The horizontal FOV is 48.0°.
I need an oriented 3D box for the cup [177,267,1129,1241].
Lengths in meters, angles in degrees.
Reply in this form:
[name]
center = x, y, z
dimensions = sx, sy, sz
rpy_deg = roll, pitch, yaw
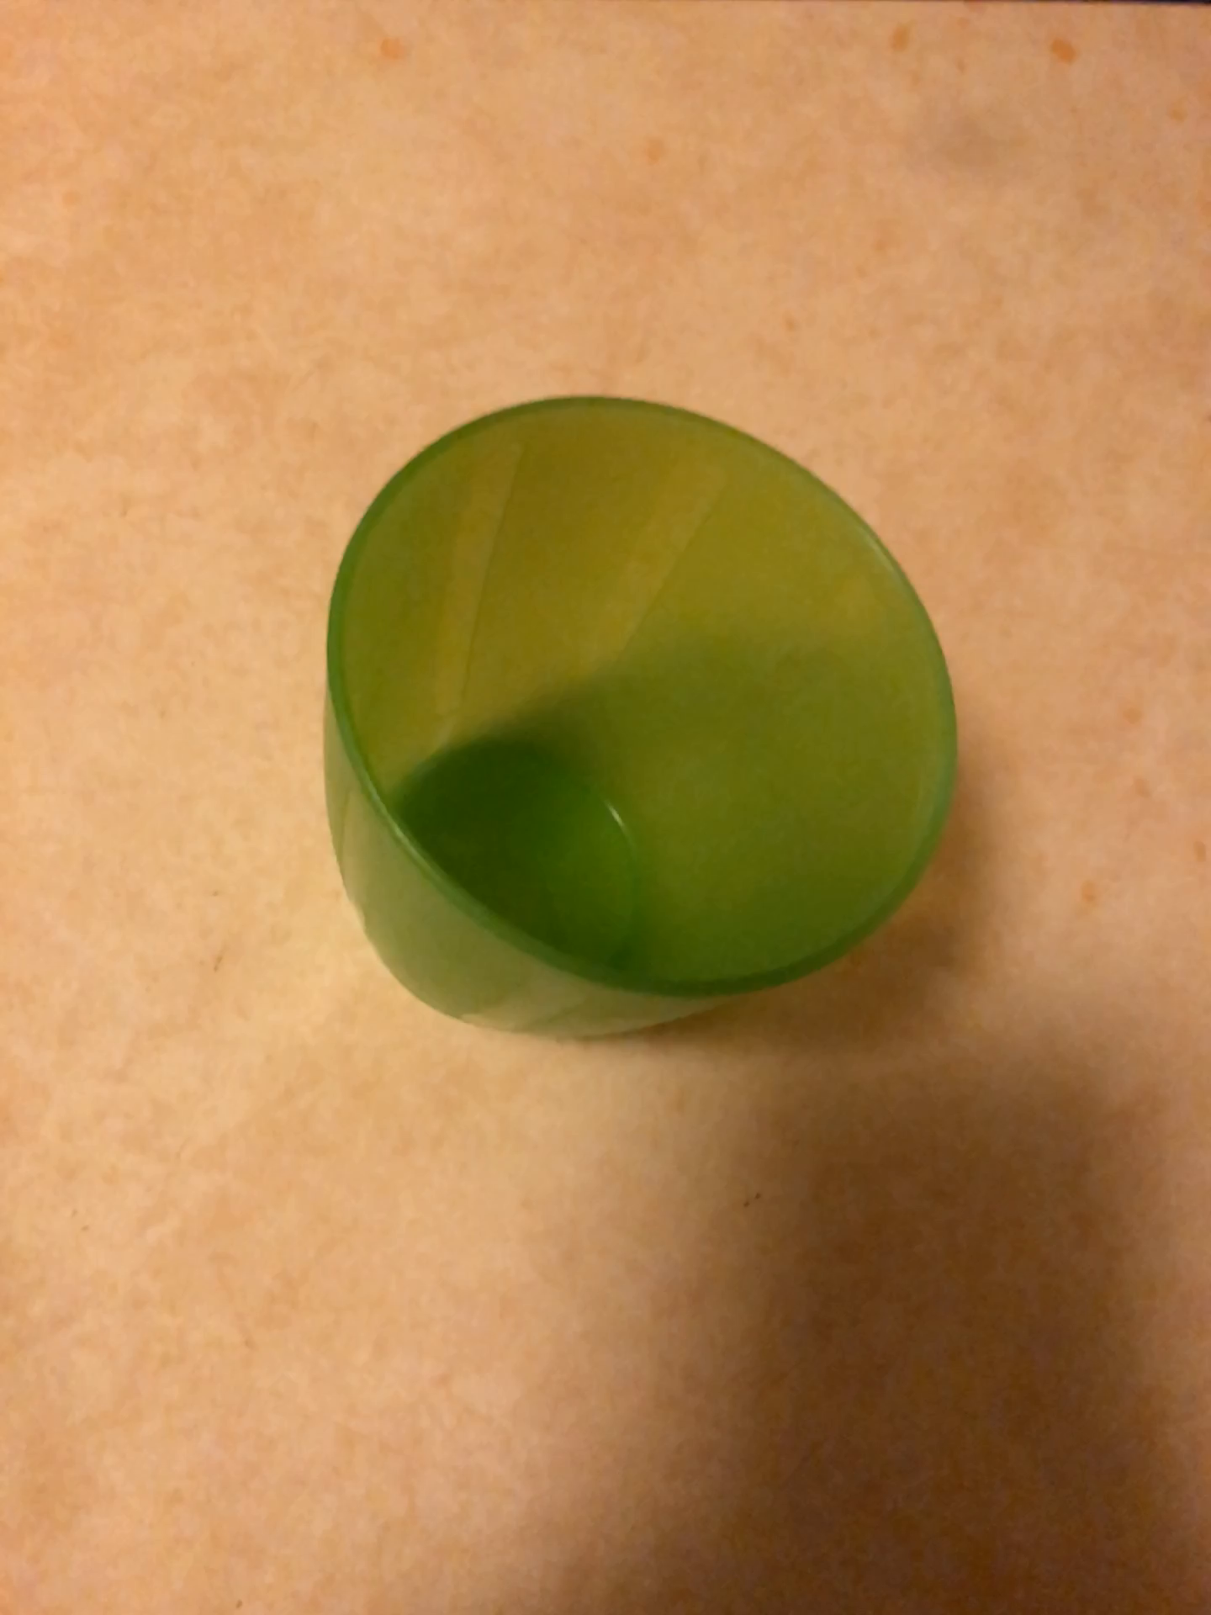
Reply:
[cup]
center = 0.002, -0.004, 0.184
dimensions = 0.080, 0.070, 0.080
rpy_deg = 7, 66, -16
